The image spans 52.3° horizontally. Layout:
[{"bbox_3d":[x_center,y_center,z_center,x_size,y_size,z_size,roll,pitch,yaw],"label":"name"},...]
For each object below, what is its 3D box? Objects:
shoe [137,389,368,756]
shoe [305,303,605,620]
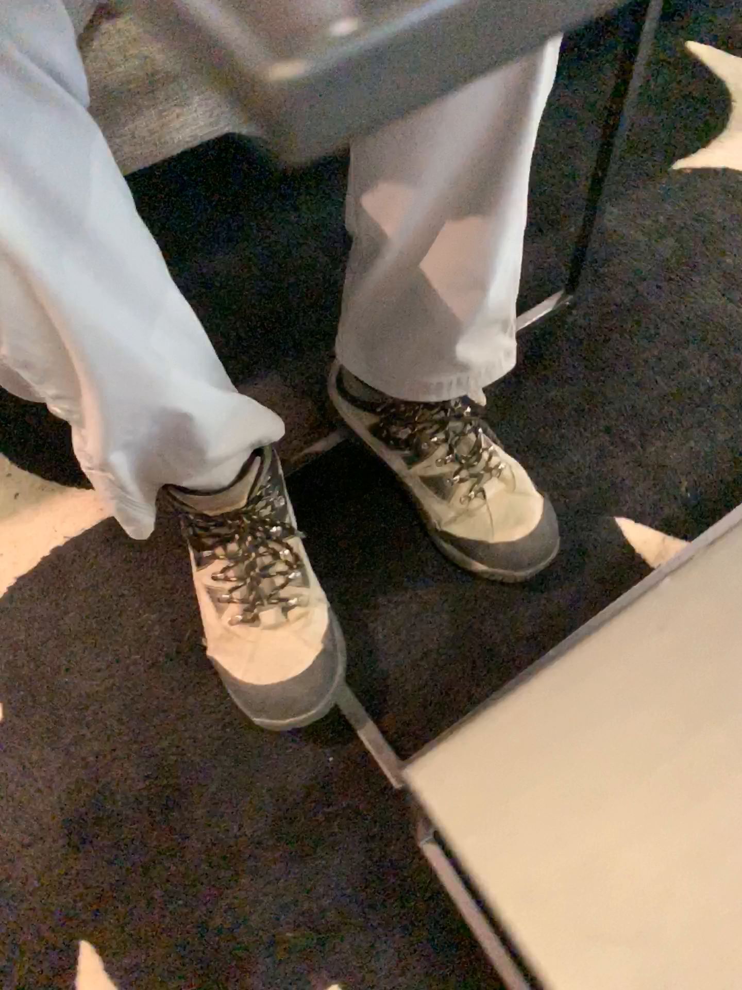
[{"bbox_3d":[-0.106,0.063,0.668,0.123,0.090,0.285,-17,66,-6],"label":"shoe"},{"bbox_3d":[0.071,-0.042,0.749,0.121,0.080,0.304,-32,65,-14],"label":"shoe"}]
